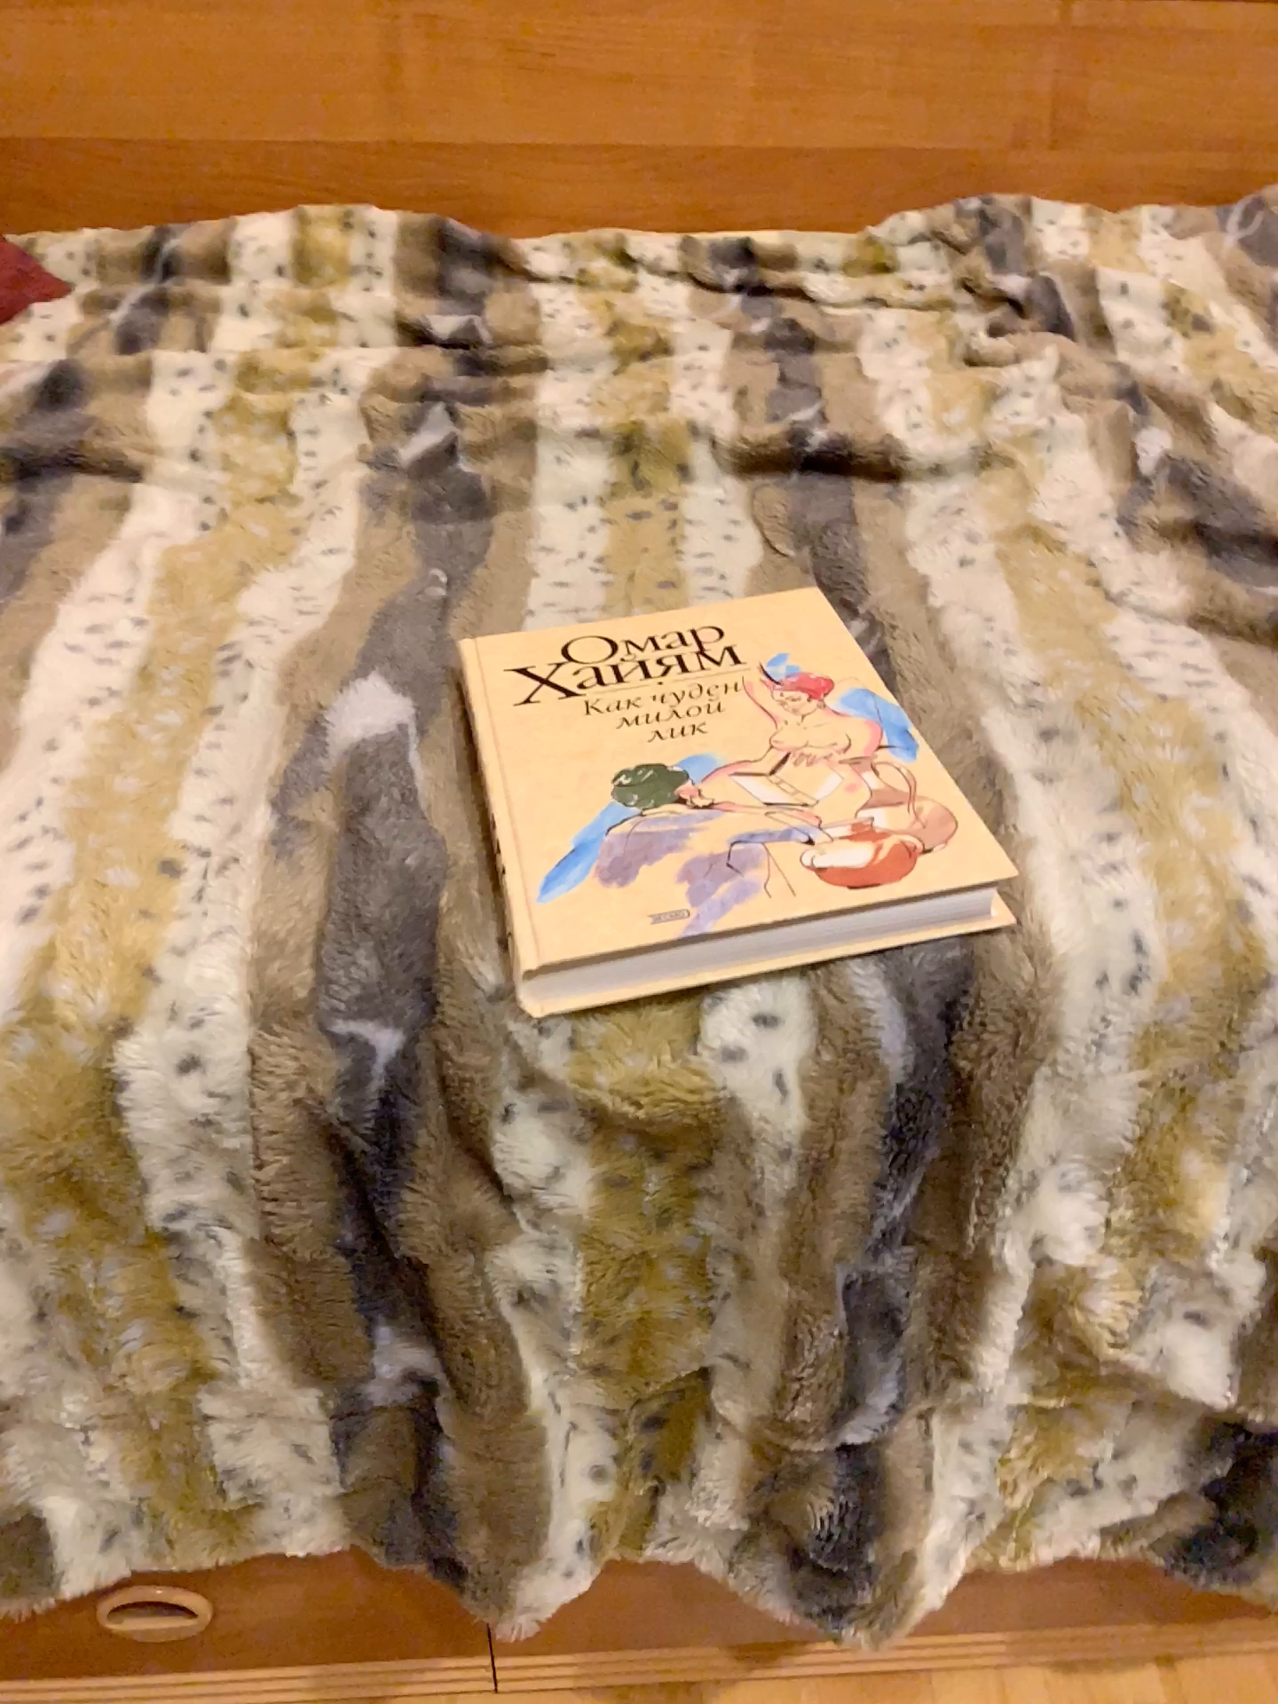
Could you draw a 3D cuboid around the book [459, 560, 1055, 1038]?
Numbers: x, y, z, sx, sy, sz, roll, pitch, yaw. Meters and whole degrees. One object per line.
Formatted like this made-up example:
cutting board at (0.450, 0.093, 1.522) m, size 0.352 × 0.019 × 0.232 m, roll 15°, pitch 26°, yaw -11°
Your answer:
book at (0.028, -0.036, 0.497) m, size 0.170 × 0.030 × 0.222 m, roll -10°, pitch 40°, yaw -6°
